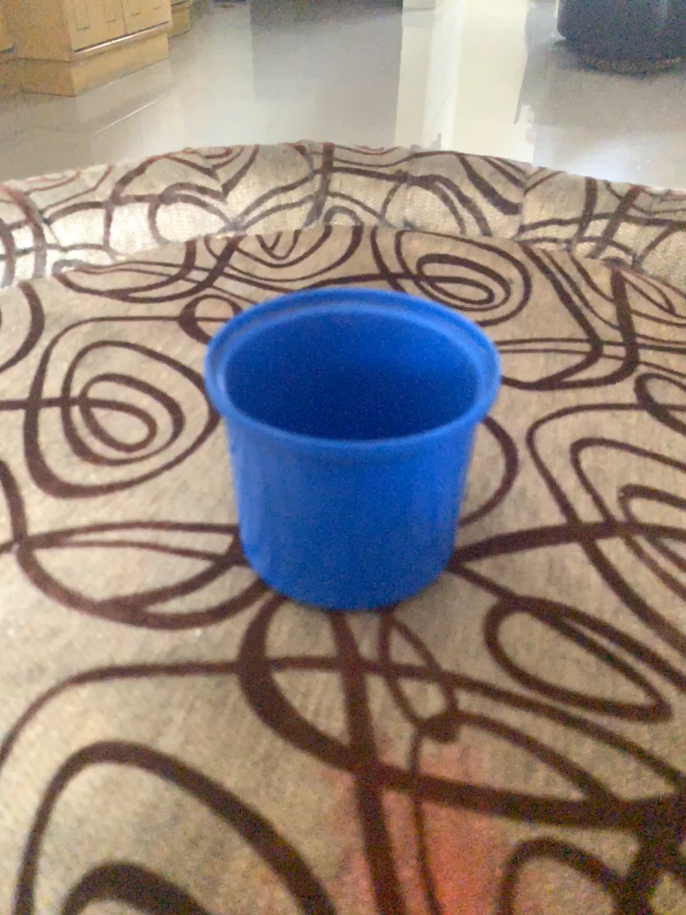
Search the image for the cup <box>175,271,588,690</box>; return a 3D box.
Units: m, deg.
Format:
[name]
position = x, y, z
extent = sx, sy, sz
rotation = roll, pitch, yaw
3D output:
[cup]
position = 0.004, 0.001, 0.201
extent = 0.080, 0.069, 0.081
rotation = 1, 39, -1
